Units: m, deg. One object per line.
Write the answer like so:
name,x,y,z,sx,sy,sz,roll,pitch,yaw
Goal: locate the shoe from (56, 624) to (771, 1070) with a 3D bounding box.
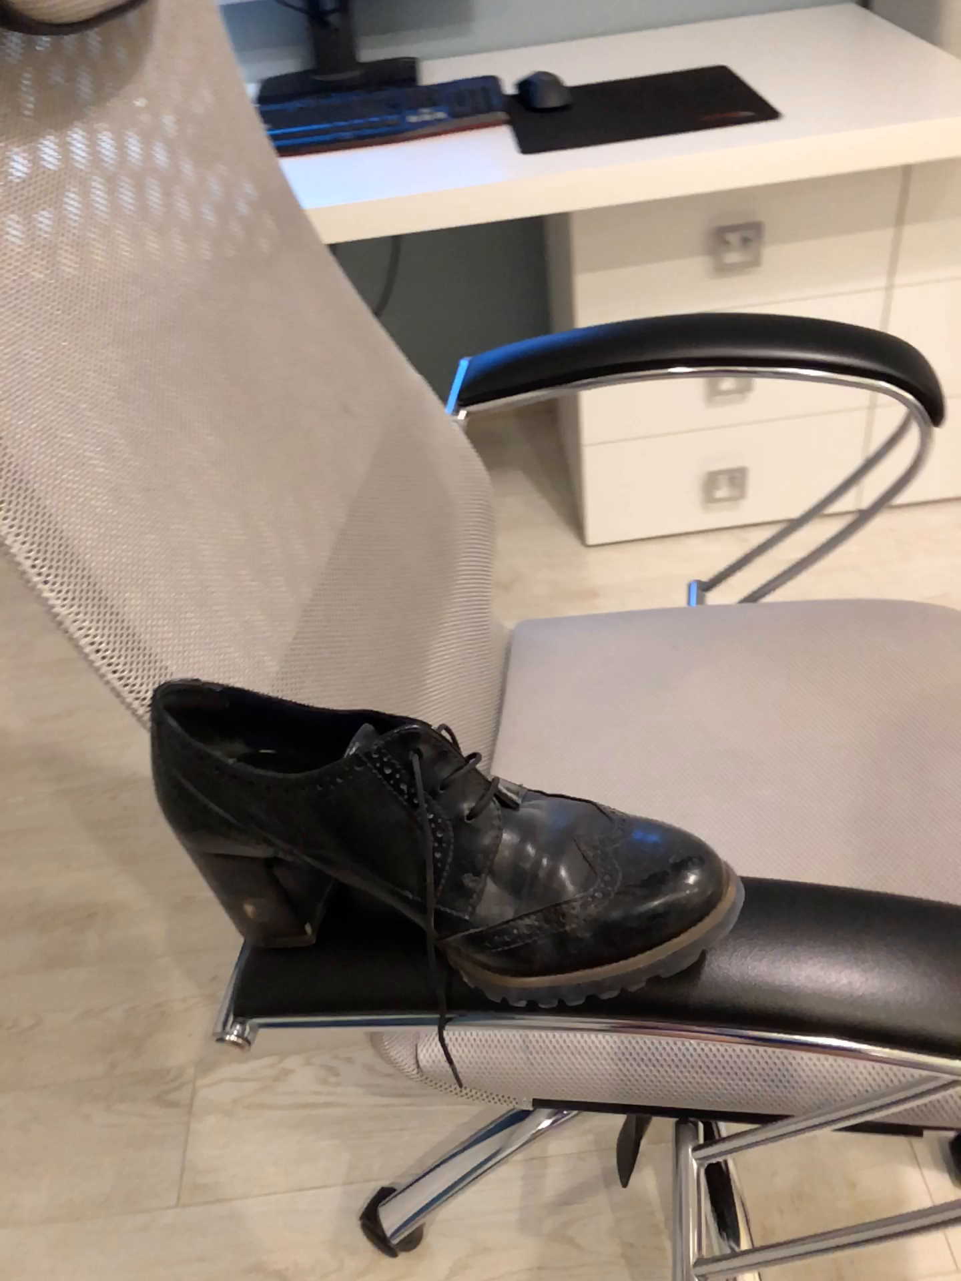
shoe,-0.021,0.074,0.432,0.250,0.119,0.101,2,41,24
